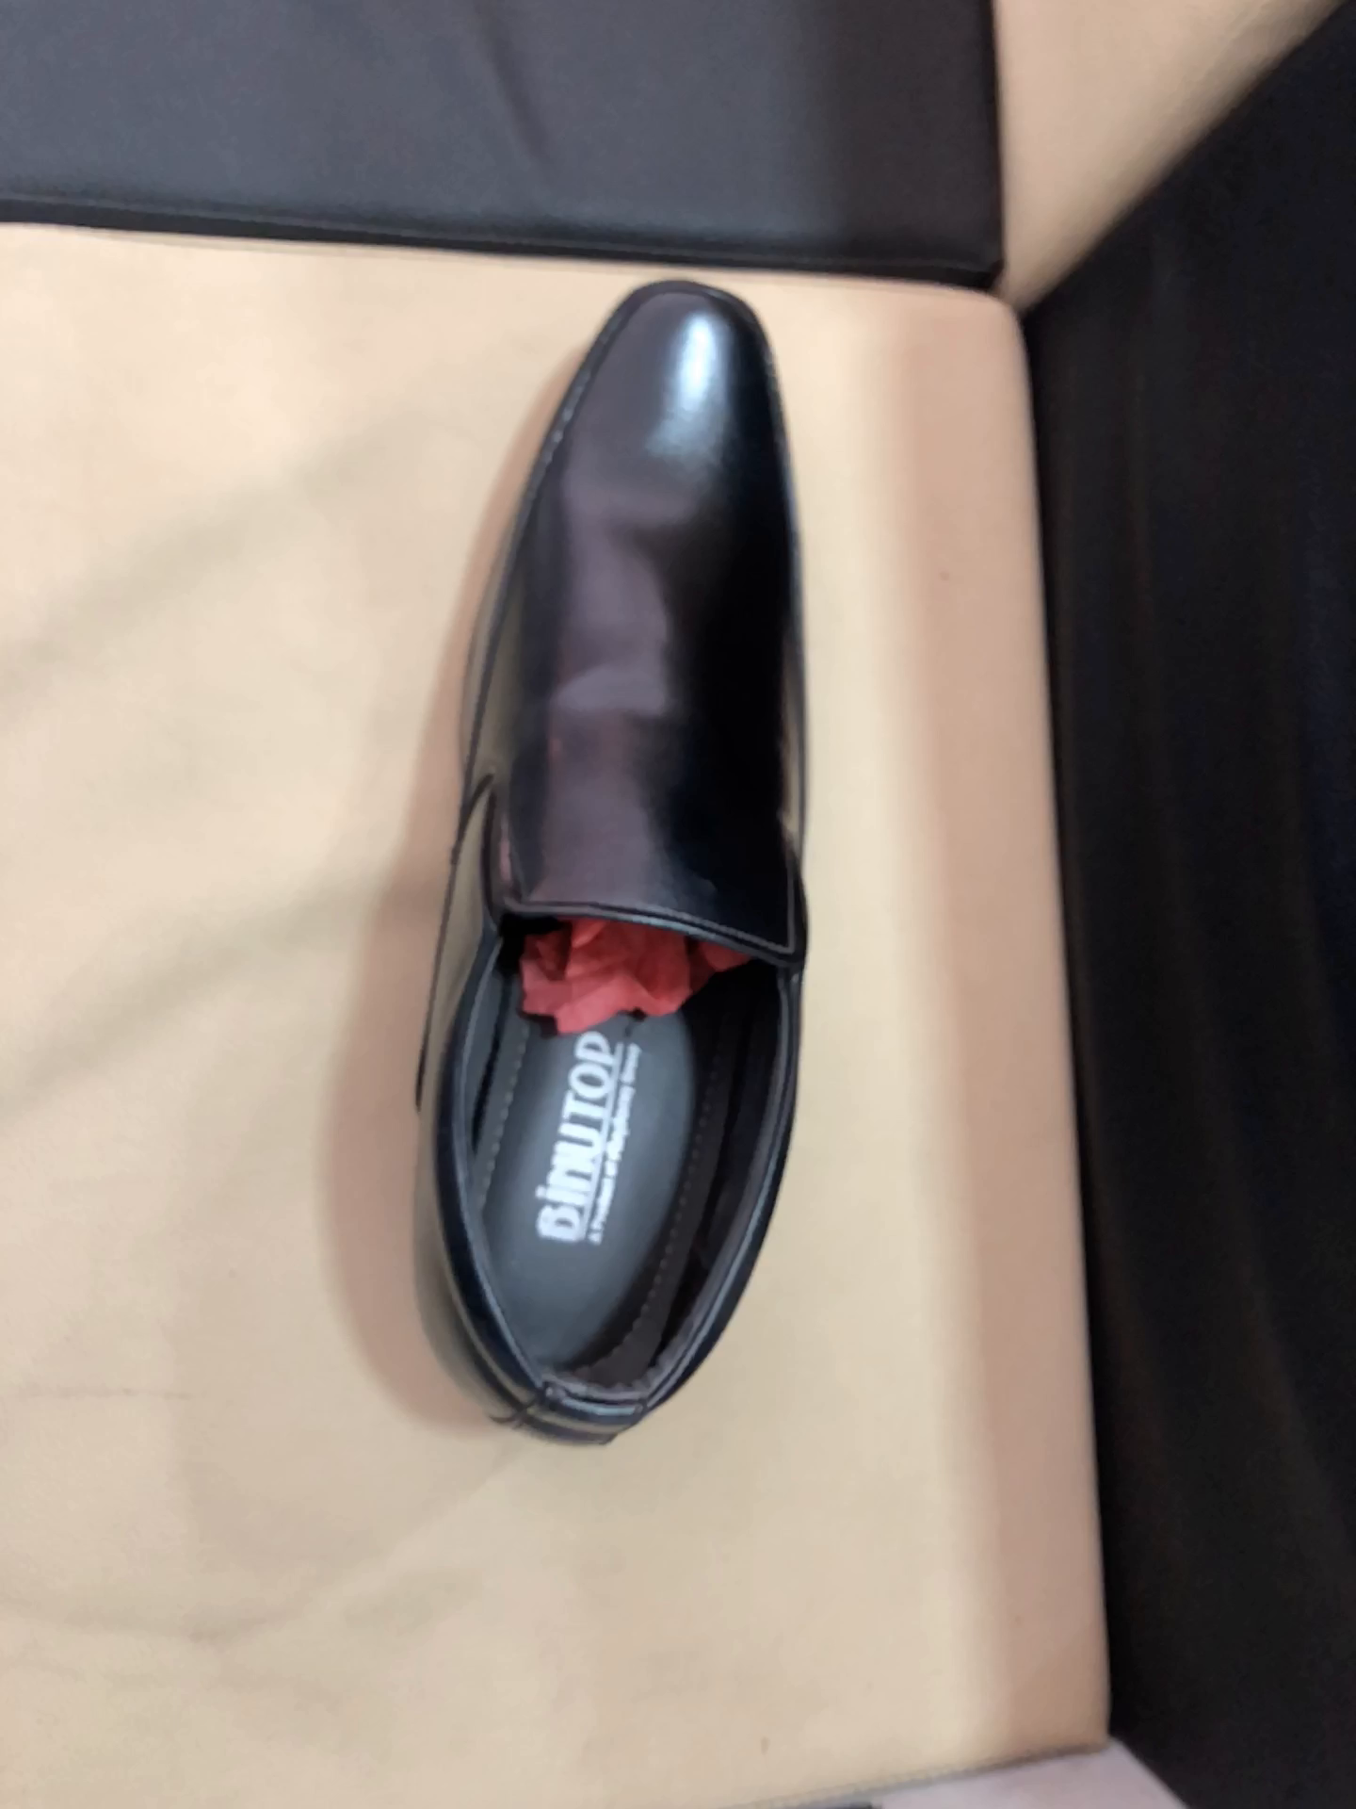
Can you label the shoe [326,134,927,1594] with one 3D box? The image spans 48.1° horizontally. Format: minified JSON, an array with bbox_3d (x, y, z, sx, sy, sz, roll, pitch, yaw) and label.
[{"bbox_3d":[-0.016,-0.008,0.382,0.100,0.080,0.320,8,86,-12],"label":"shoe"}]
